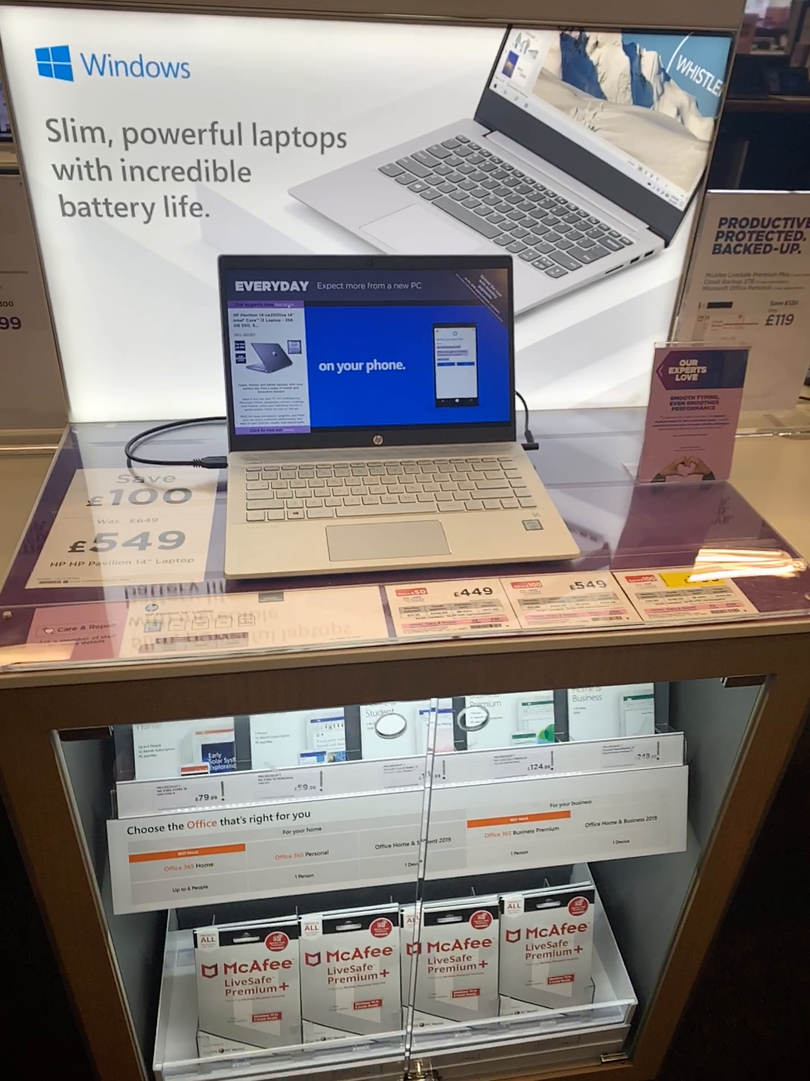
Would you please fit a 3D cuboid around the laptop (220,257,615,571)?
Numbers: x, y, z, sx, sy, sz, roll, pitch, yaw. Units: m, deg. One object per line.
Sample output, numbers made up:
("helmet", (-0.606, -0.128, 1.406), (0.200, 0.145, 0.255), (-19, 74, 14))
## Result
("laptop", (-0.014, -0.146, 0.824), (0.313, 0.171, 0.325), (-3, 35, -9))
